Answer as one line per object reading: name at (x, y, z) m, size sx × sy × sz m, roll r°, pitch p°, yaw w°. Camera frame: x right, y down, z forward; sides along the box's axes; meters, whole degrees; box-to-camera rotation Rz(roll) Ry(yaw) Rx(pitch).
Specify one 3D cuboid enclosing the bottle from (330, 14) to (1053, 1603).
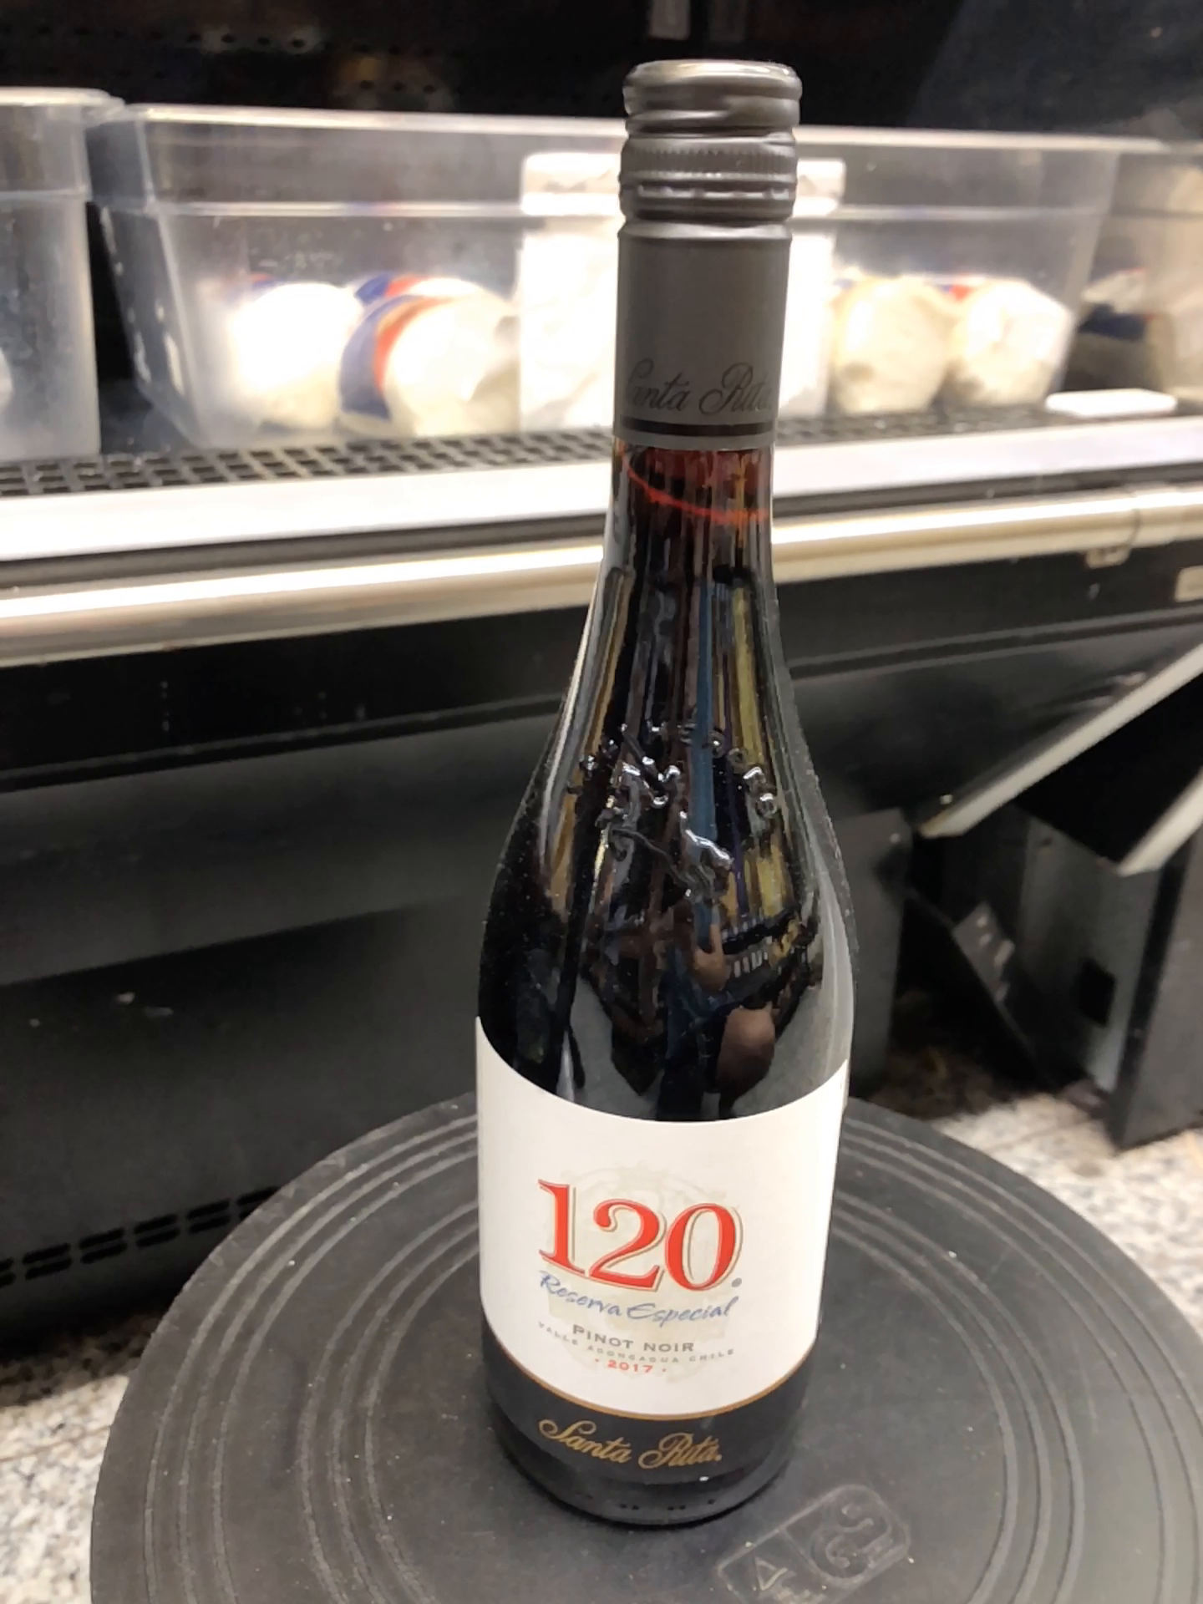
bottle at (0.014, 0.015, 0.266) m, size 0.090 × 0.288 × 0.091 m, roll 1°, pitch 24°, yaw 0°
